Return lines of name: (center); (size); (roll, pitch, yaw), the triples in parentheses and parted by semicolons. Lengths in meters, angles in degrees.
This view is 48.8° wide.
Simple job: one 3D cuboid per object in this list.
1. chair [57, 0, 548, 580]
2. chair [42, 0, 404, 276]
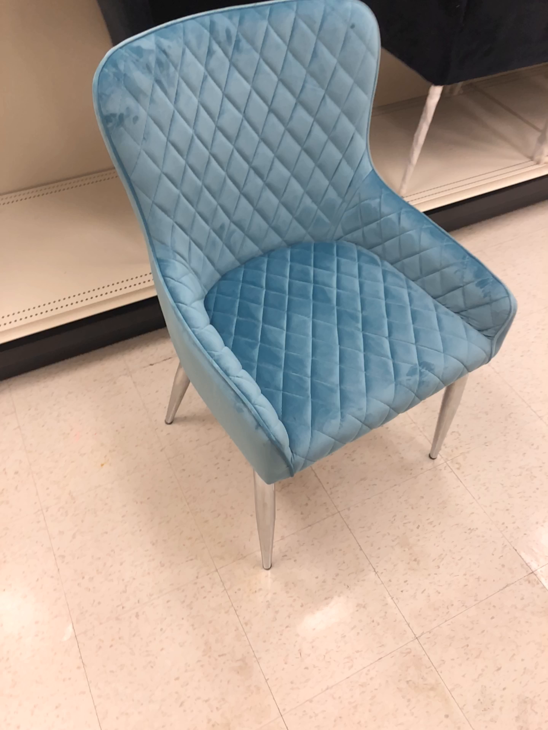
chair: (0.057, -0.136, 1.194); (0.560, 0.871, 0.585); (-26, 54, -21)
chair: (-0.137, -0.758, 1.503); (0.580, 0.777, 0.562); (-16, 51, -14)
